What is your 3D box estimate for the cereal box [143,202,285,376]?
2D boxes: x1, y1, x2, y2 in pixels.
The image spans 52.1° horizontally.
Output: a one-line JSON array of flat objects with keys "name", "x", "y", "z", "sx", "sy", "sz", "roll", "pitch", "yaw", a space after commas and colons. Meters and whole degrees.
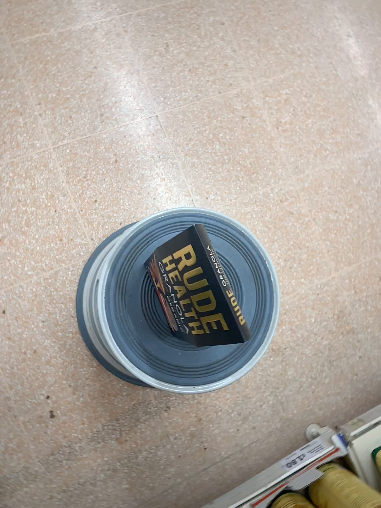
[{"name": "cereal box", "x": 0.006, "y": 0.045, "z": 0.479, "sx": 0.070, "sy": 0.260, "sz": 0.140, "roll": -21, "pitch": 87, "yaw": -12}]
